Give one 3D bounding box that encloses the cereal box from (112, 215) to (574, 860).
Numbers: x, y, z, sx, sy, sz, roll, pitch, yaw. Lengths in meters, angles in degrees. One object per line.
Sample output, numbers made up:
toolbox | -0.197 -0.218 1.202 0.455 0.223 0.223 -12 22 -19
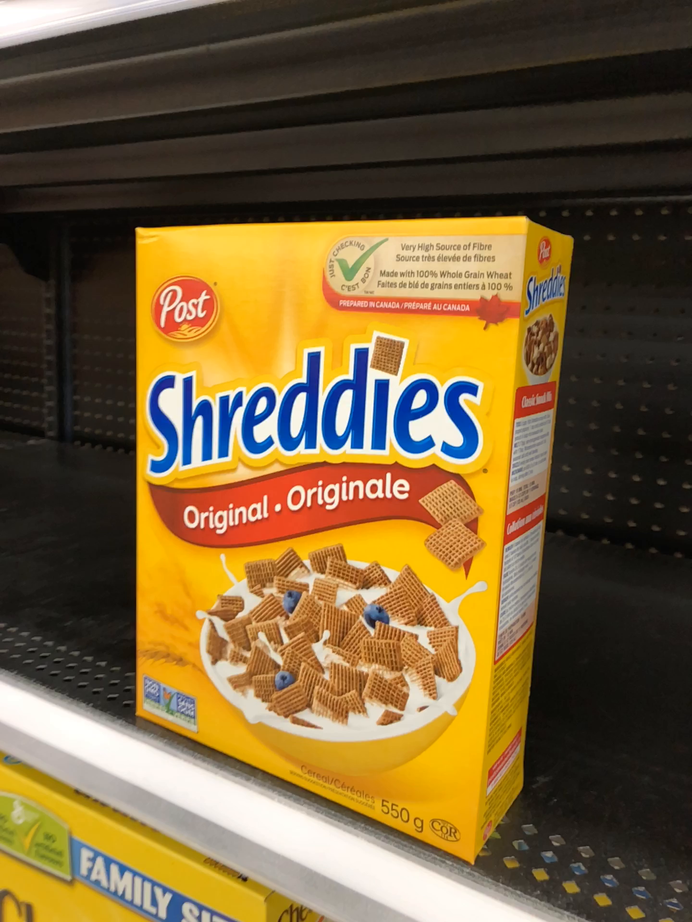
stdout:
cereal box | -0.014 0.020 0.380 0.210 0.259 0.070 9 12 30
